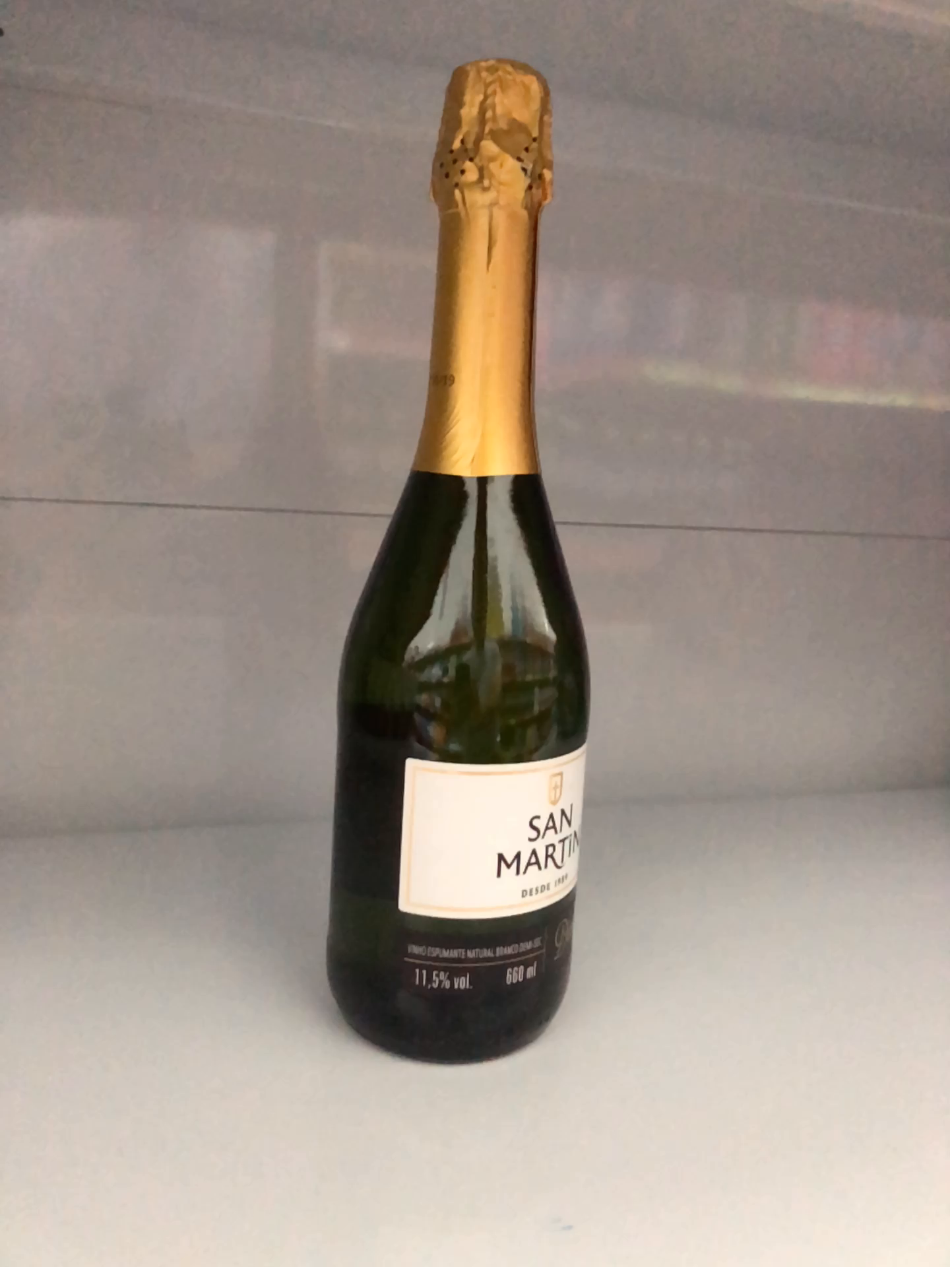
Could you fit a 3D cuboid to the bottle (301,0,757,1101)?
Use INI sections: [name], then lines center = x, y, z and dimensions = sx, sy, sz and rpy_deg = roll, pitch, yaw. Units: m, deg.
[bottle]
center = 0.012, -0.030, 0.331
dimensions = 0.090, 0.309, 0.080
rpy_deg = -6, 14, -43
